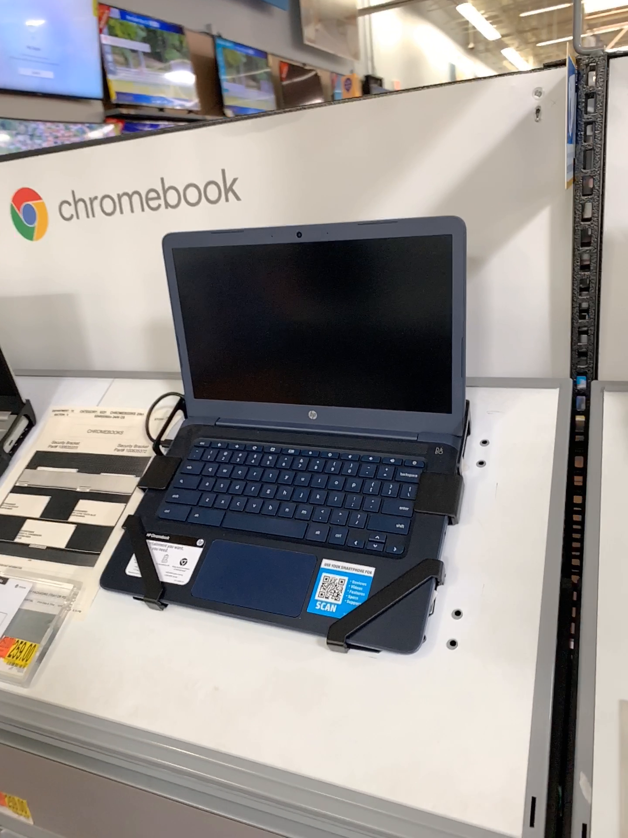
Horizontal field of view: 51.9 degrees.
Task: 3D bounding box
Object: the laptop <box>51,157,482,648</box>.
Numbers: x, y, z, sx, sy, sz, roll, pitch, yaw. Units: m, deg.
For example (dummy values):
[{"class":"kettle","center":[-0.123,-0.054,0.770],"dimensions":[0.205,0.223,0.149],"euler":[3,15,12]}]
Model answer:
[{"class":"laptop","center":[-0.027,-0.045,0.637],"dimensions":[0.318,0.189,0.323],"euler":[4,43,24]}]
